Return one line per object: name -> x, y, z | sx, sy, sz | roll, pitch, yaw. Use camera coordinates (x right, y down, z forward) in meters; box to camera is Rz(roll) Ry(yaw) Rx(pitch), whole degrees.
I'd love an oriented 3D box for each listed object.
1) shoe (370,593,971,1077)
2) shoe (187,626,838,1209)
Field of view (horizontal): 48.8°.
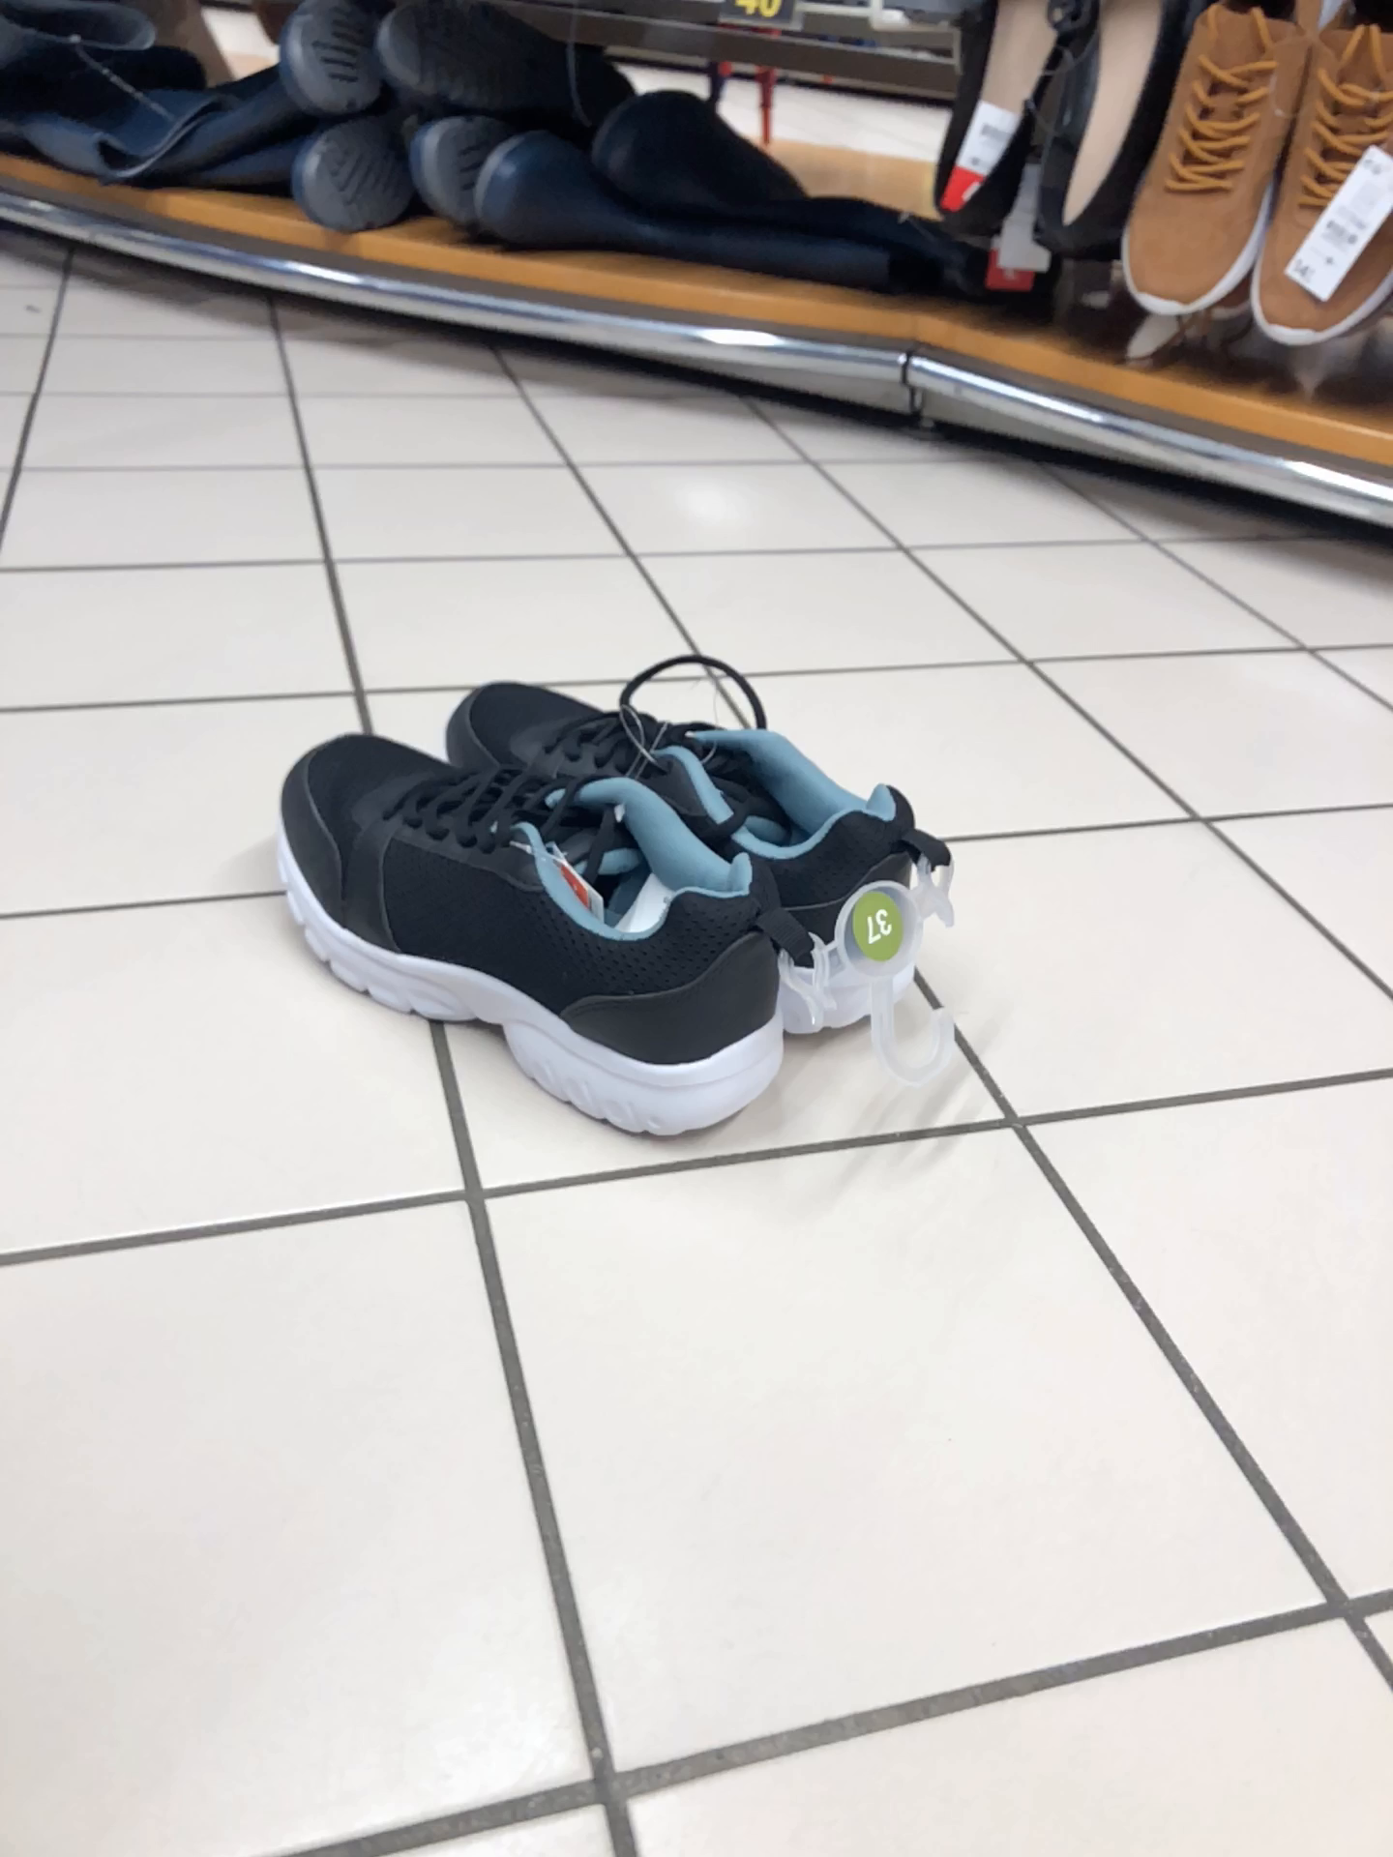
shoe -> -0.021, -0.051, 0.652 | 0.240, 0.099, 0.101 | 28, 35, 31
shoe -> -0.078, -0.017, 0.593 | 0.240, 0.109, 0.101 | 28, 39, 31
